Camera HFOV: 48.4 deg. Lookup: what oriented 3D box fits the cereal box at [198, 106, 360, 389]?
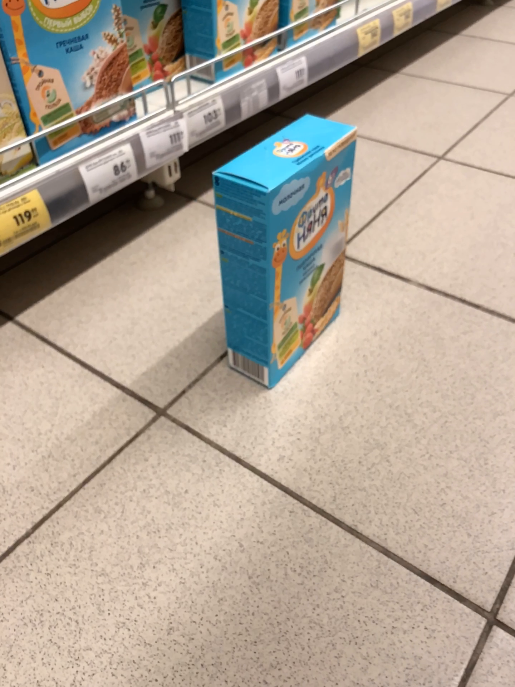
[{"bbox_3d":[0.024,-0.083,0.513,0.060,0.199,0.141,24,49,25],"label":"cereal box"}]
